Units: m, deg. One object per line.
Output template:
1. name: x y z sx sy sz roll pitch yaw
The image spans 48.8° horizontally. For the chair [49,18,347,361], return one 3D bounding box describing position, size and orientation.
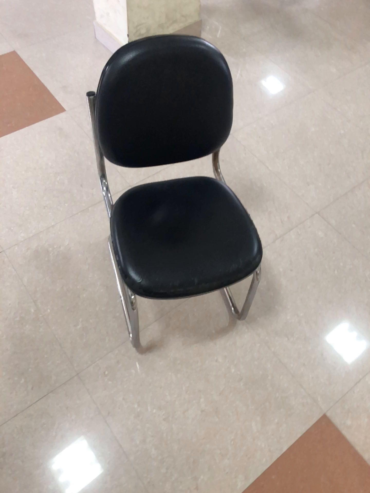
1. chair: -0.025 -0.119 1.228 0.500 0.759 0.591 -14 60 -12
